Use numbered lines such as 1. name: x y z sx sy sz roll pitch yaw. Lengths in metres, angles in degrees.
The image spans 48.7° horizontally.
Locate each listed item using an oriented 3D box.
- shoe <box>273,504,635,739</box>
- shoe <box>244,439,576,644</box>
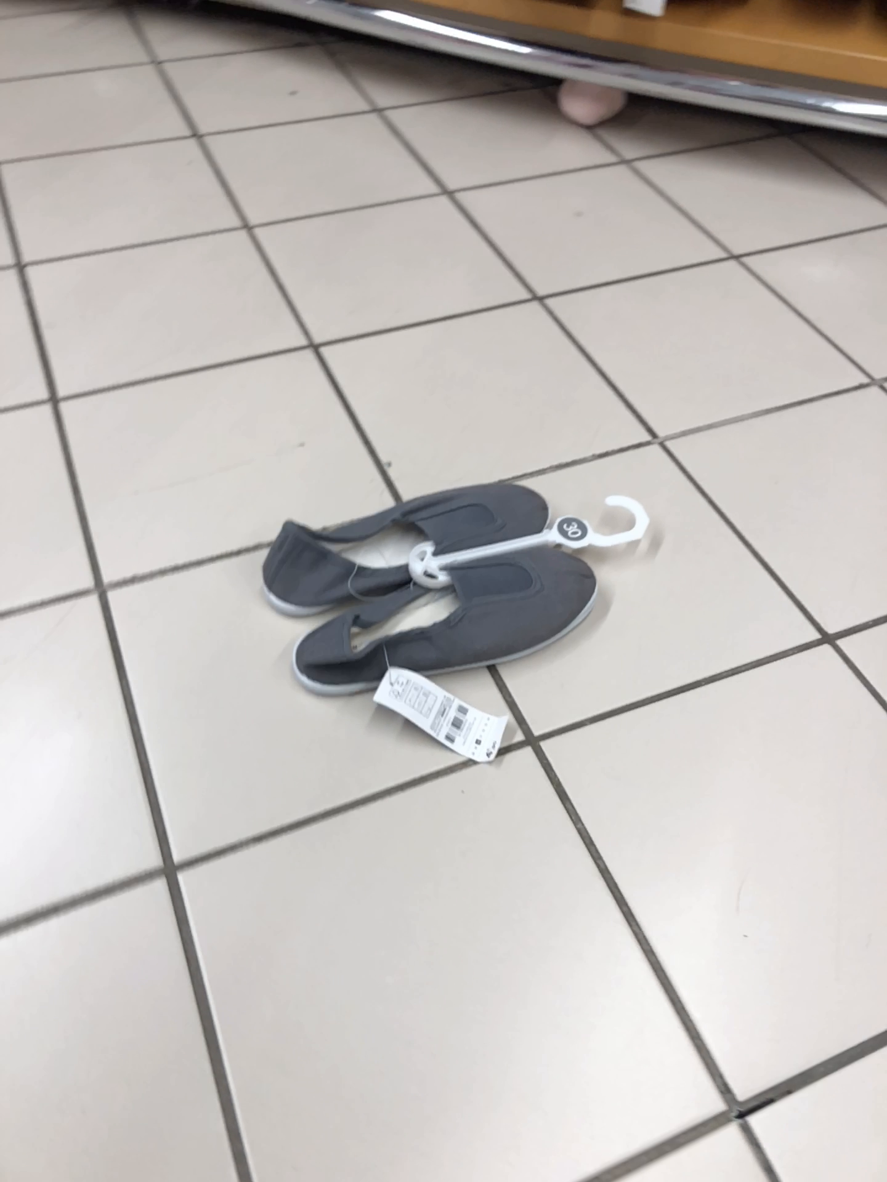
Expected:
1. shoe: 0.006 0.014 0.559 0.186 0.046 0.077 -15 51 -16
2. shoe: -0.020 -0.034 0.601 0.186 0.046 0.071 -16 51 -16
